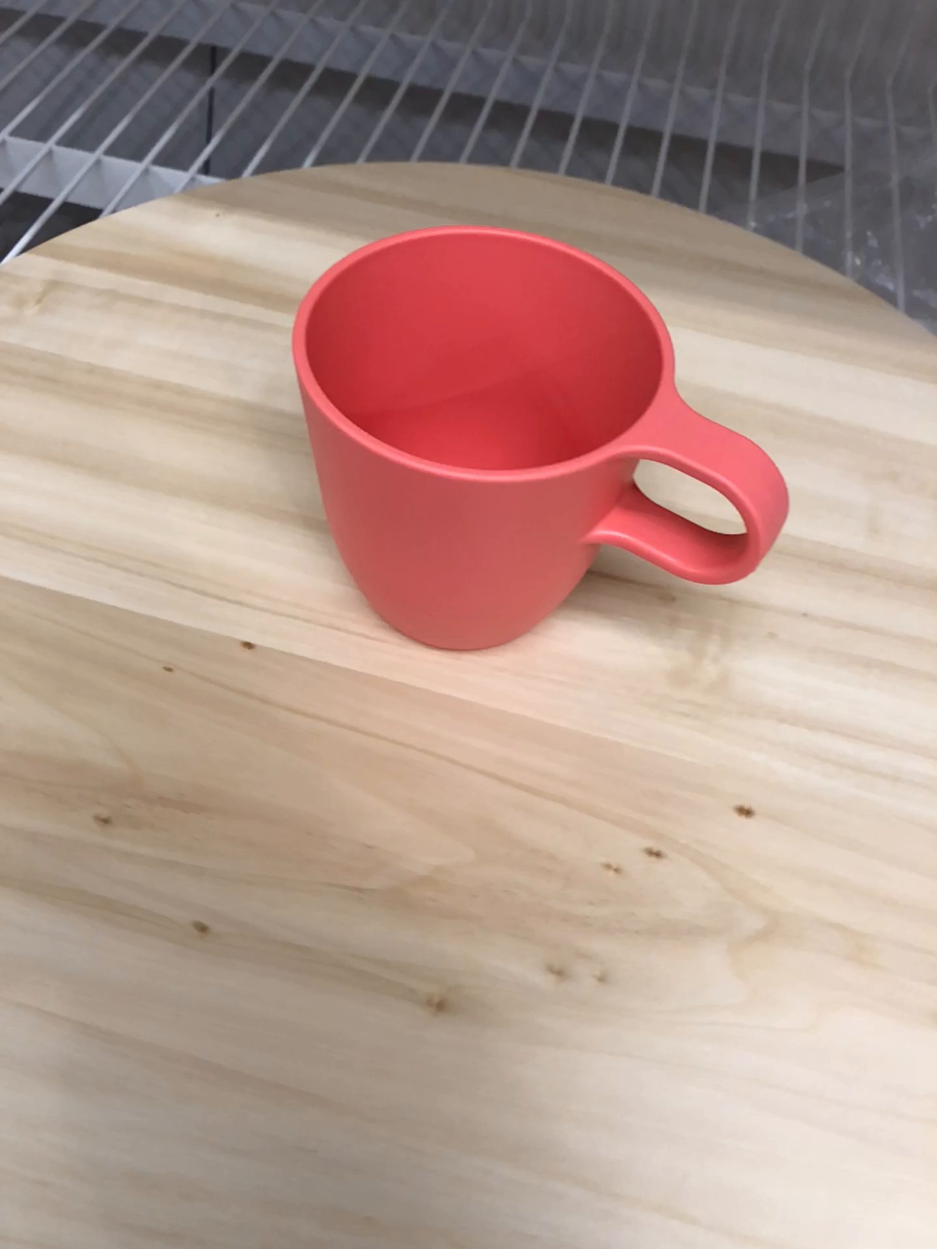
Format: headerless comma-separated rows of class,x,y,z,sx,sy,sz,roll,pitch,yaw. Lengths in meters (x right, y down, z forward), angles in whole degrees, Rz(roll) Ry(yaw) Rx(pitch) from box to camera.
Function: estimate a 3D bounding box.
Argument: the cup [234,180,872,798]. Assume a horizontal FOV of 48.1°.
cup,0.017,-0.034,0.251,0.110,0.080,0.080,27,54,15
